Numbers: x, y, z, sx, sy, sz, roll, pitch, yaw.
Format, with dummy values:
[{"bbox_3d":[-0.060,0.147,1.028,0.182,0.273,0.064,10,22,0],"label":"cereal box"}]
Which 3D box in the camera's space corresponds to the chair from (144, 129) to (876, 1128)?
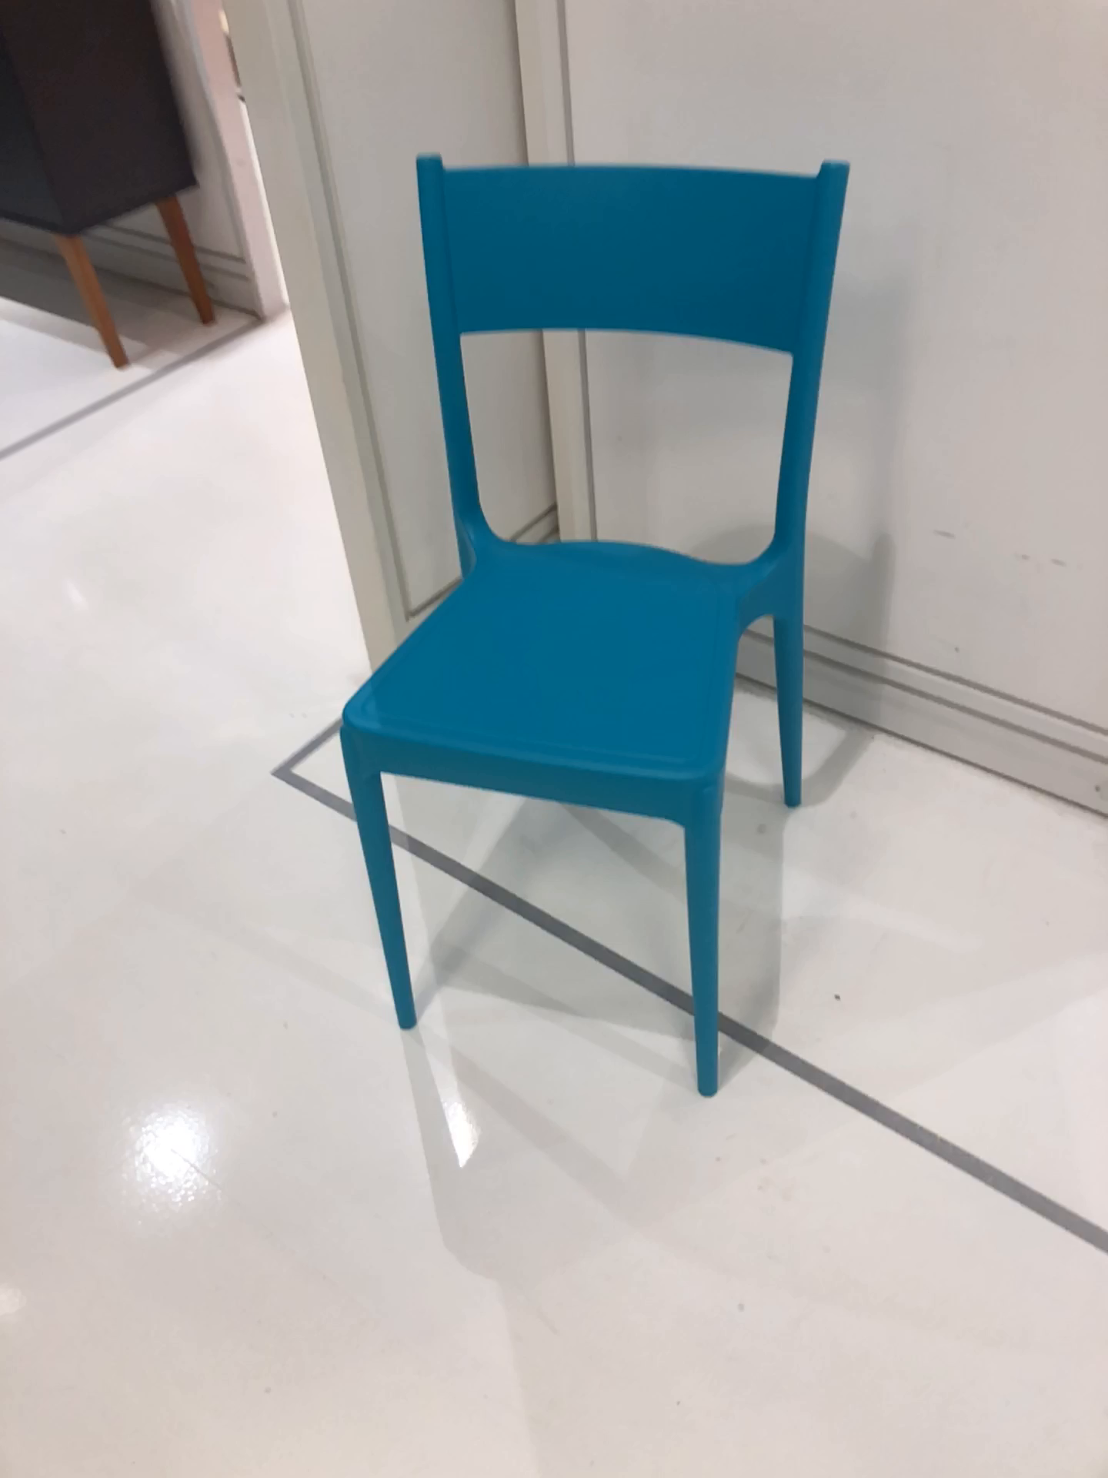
[{"bbox_3d":[0.034,-0.104,1.209,0.430,0.793,0.514,9,43,17],"label":"chair"}]
